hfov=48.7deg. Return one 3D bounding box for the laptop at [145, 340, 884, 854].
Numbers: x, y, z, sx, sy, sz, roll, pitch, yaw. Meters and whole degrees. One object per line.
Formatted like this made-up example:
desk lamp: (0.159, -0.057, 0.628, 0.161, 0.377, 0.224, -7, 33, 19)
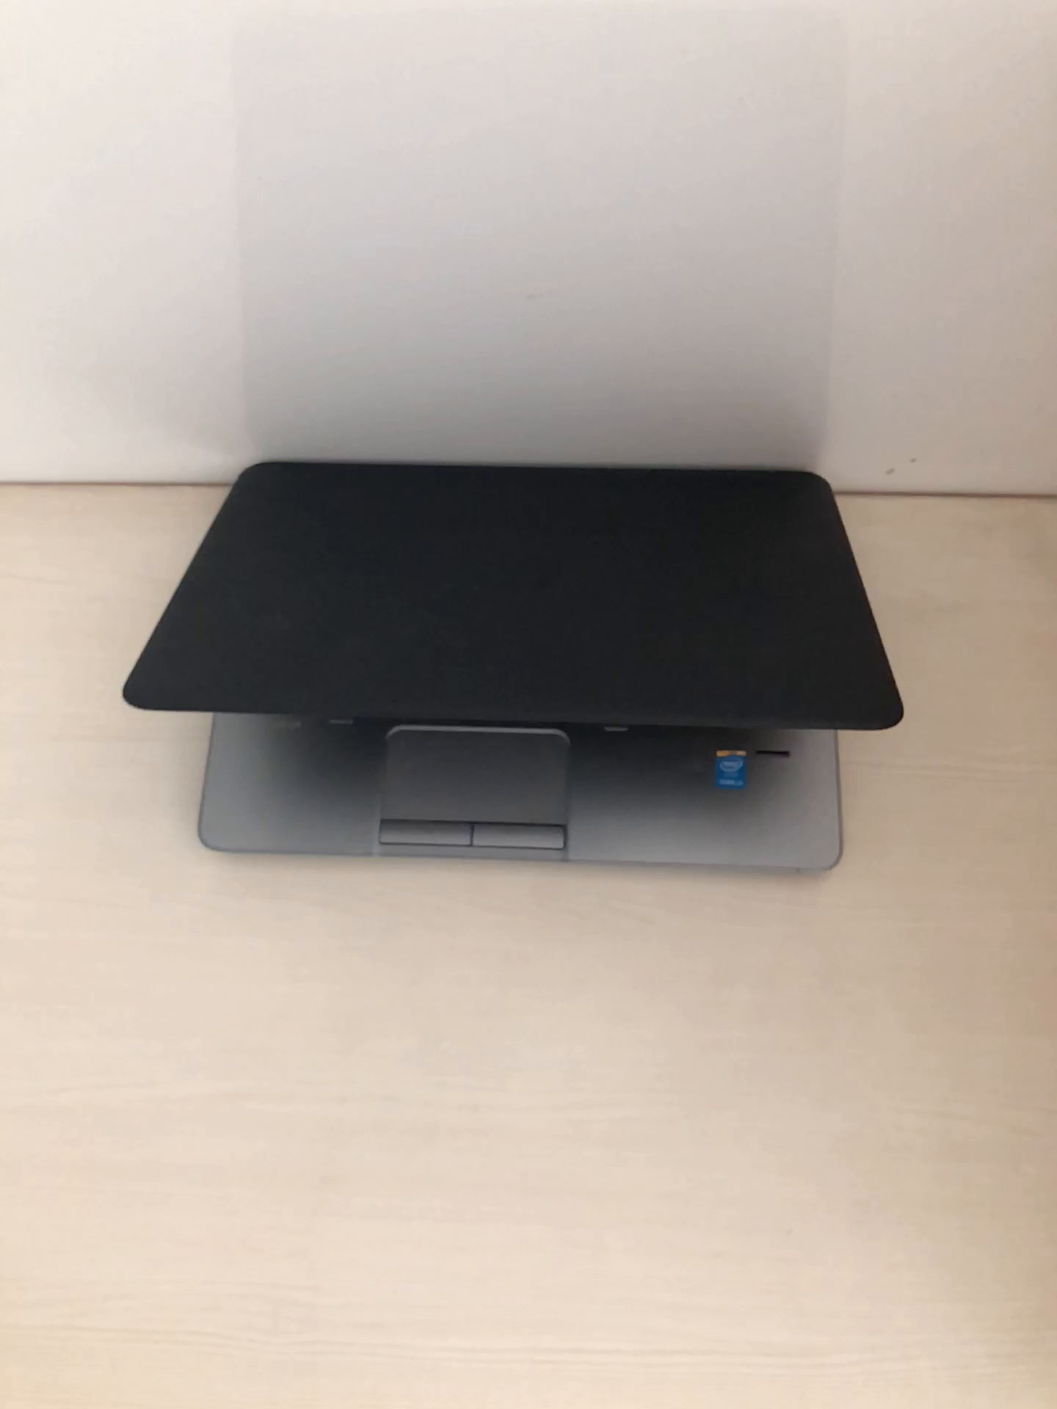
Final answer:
laptop: (-0.001, -0.051, 0.595, 0.319, 0.119, 0.220, 1, 71, 2)
